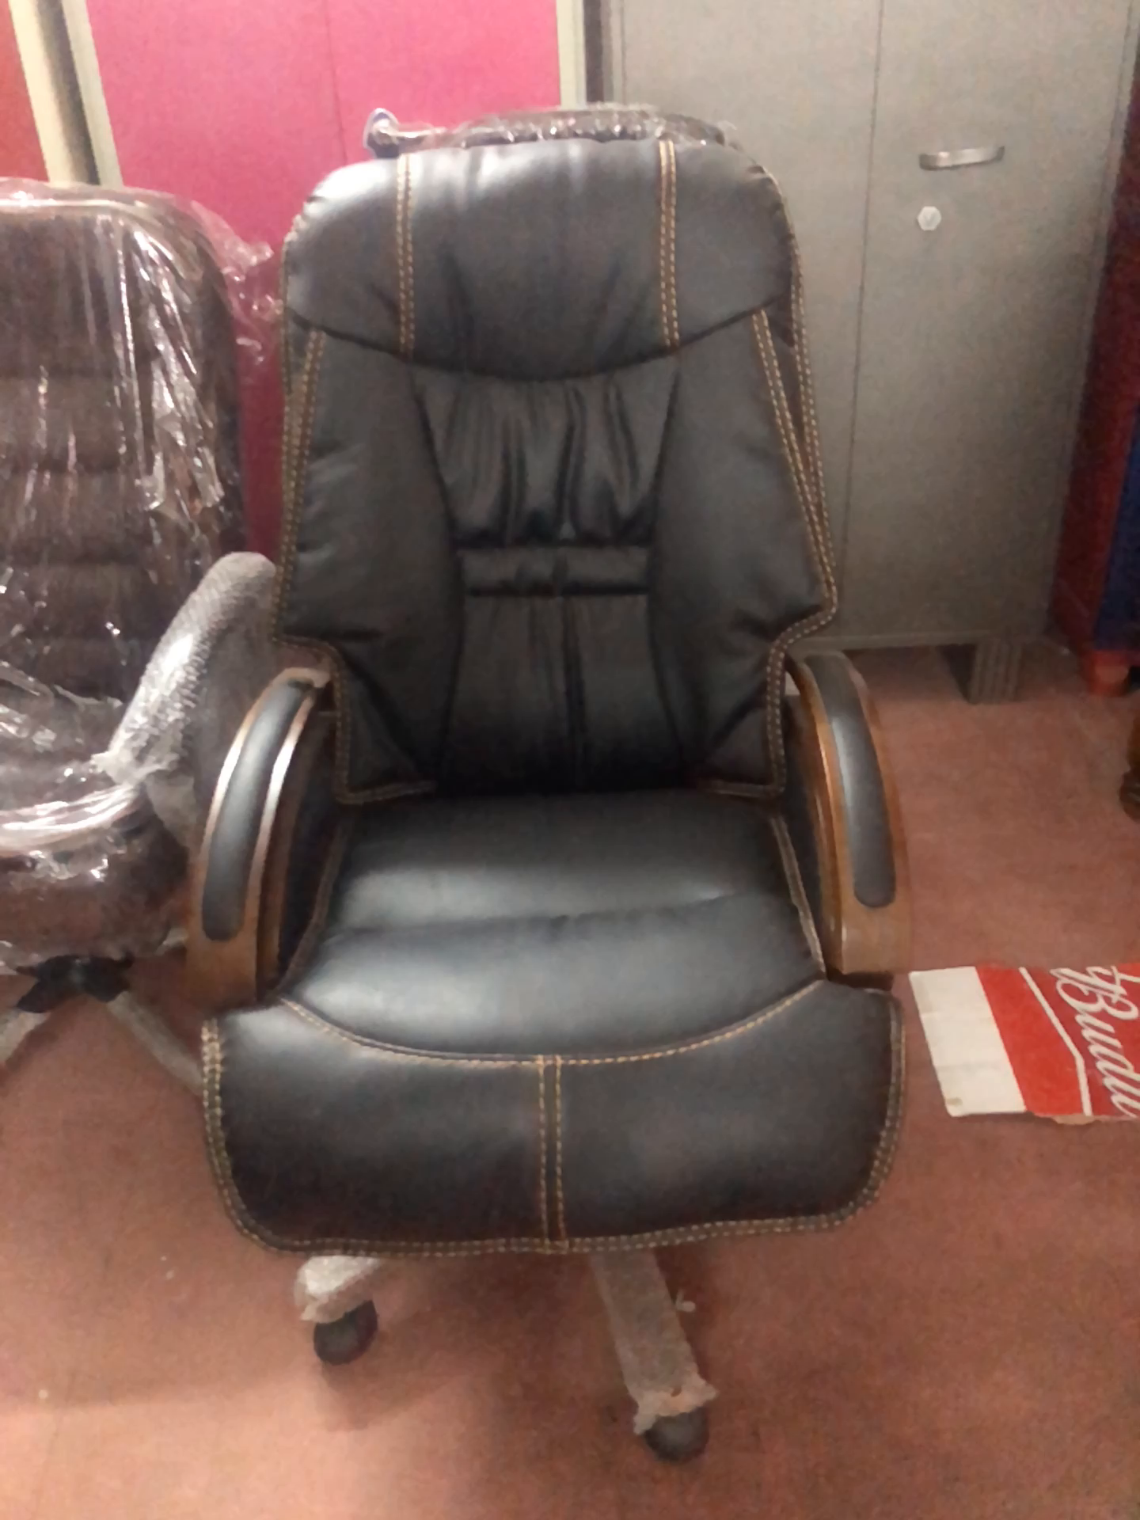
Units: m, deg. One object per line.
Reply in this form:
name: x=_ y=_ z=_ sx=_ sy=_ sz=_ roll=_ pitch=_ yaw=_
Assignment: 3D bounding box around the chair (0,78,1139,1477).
chair: x=-0.059 y=-0.021 z=1.152 sx=0.700 sy=0.995 sz=0.794 roll=-2 pitch=31 yaw=2
